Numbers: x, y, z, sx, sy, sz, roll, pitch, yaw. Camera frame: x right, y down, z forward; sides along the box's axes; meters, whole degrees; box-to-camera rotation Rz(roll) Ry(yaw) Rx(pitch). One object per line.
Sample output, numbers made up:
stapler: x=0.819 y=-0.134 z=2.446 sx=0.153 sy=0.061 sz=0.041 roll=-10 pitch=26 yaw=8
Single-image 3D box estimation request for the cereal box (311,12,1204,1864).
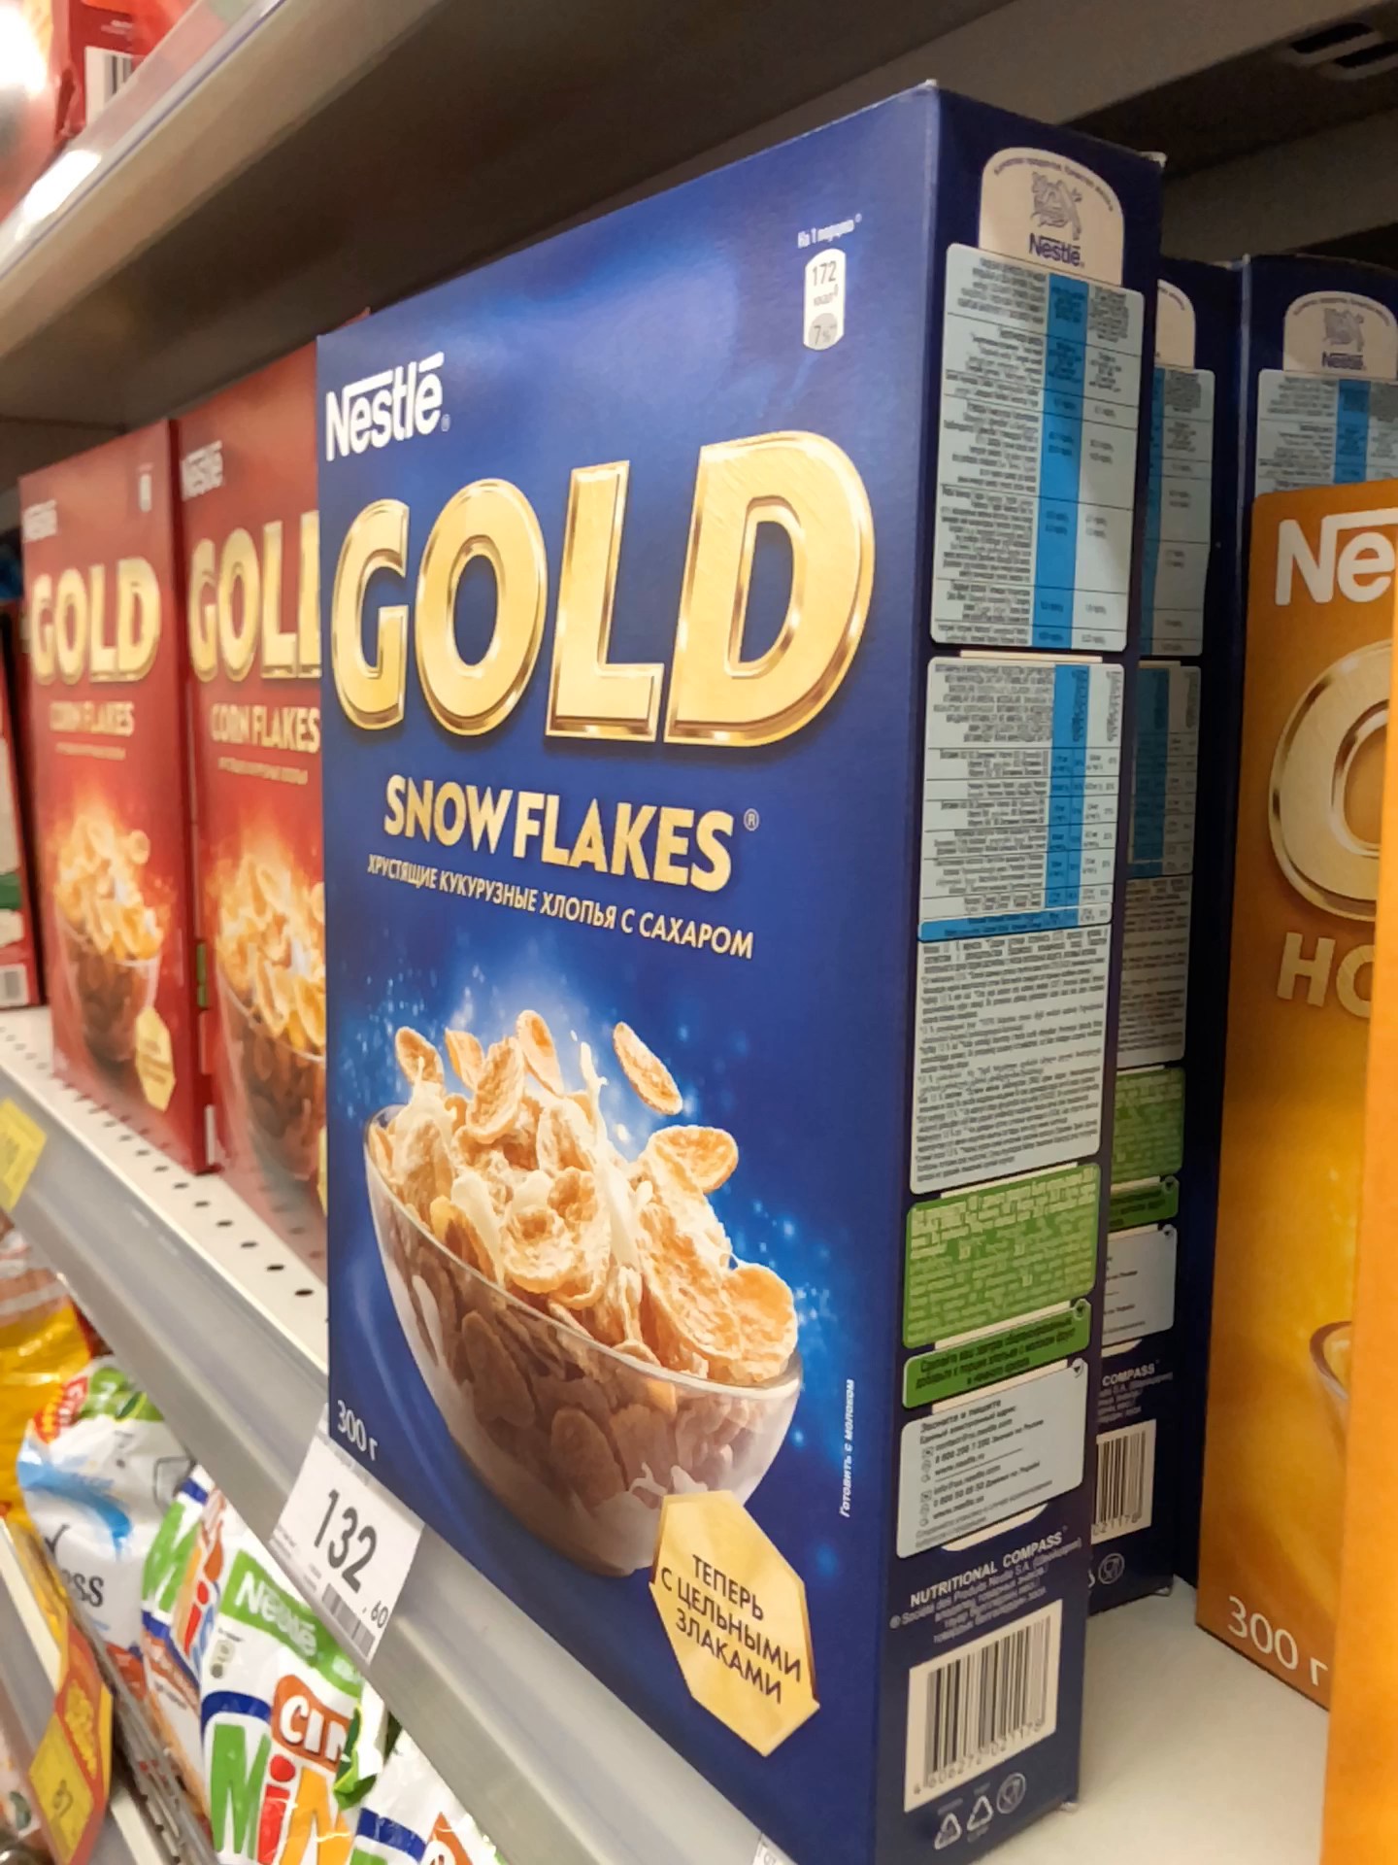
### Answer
cereal box: x=-0.010 y=0.007 z=0.301 sx=0.050 sy=0.269 sz=0.200 roll=-4 pitch=9 yaw=-36
